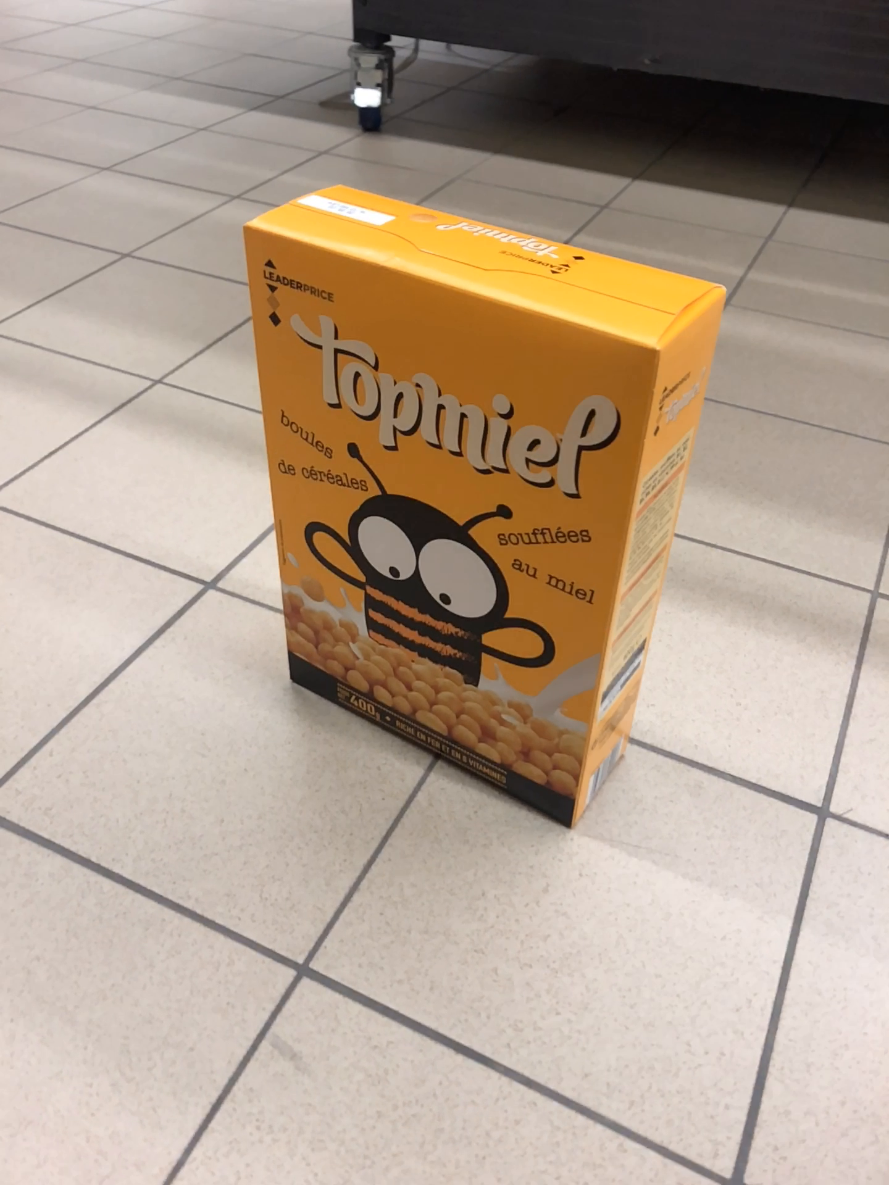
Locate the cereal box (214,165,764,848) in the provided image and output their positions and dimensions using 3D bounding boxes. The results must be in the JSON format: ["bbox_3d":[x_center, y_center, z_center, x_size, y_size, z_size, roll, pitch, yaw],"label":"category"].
[{"bbox_3d":[0.006,-0.032,0.458,0.210,0.268,0.060,24,44,24],"label":"cereal box"}]
